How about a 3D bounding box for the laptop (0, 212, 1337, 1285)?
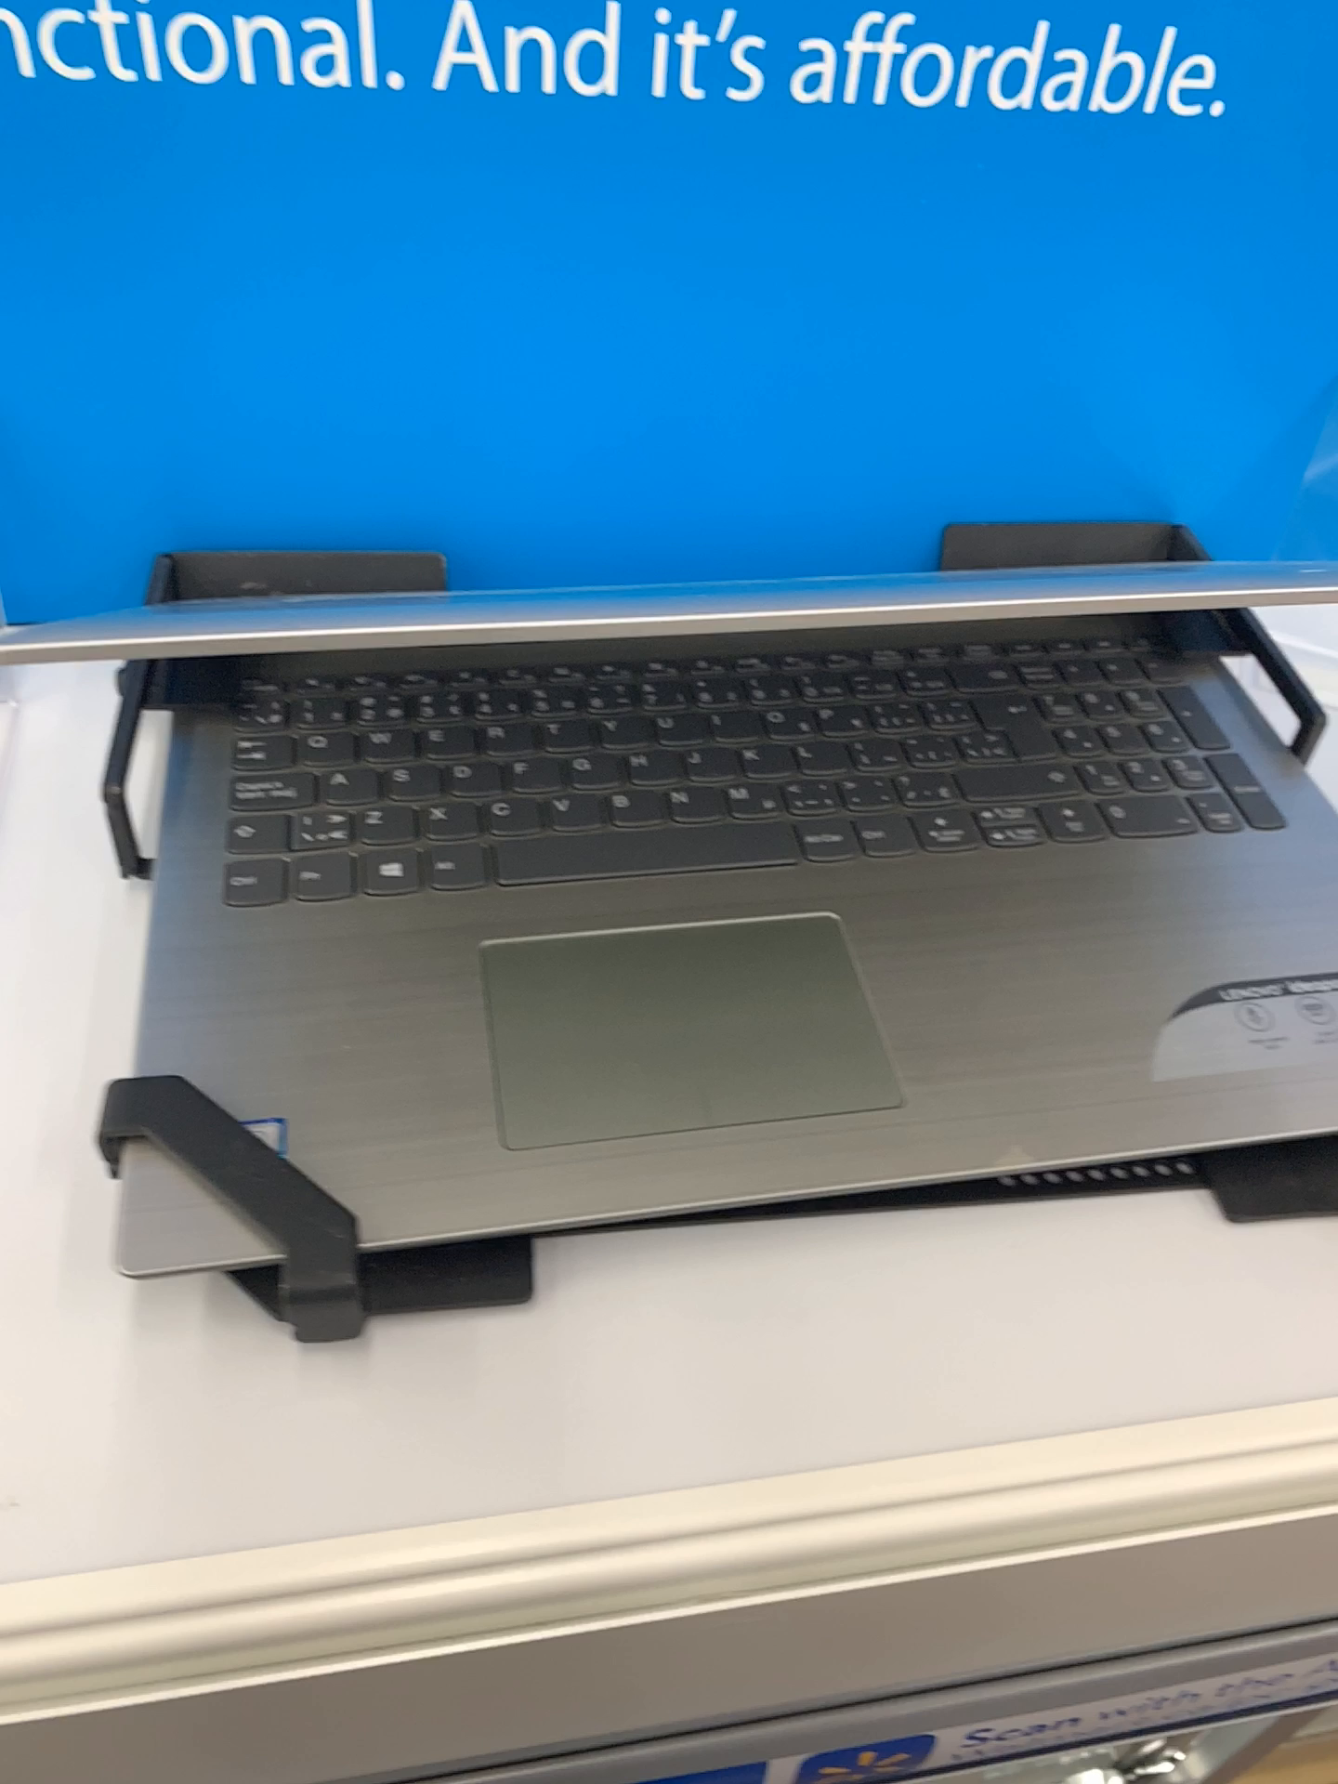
[{"bbox_3d":[0.038,-0.059,0.337,0.326,0.115,0.230,-4,45,-11],"label":"laptop"}]
